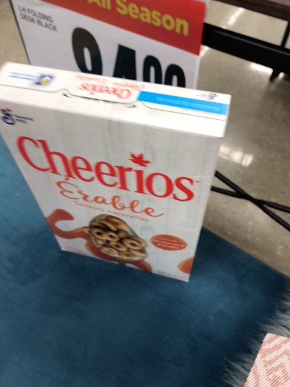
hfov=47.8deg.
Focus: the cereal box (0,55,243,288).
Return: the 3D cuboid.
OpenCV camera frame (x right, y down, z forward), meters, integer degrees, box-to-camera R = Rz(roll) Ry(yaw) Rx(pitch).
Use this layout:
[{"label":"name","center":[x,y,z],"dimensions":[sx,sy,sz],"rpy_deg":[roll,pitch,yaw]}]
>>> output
[{"label":"cereal box","center":[-0.031,0.002,0.362],"dimensions":[0.210,0.269,0.060],"rpy_deg":[12,55,10]}]
